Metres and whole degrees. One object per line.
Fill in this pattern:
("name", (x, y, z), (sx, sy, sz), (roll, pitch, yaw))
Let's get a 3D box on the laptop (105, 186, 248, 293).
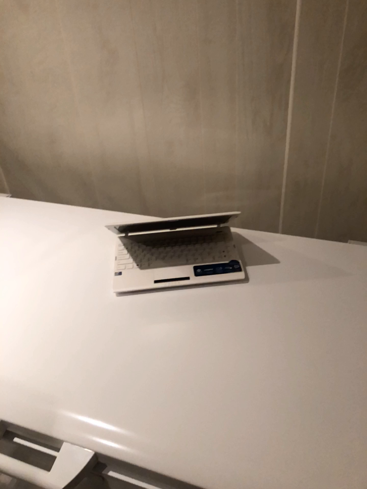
("laptop", (-0.021, -0.019, 0.947), (0.298, 0.115, 0.199), (-6, 39, -2))
